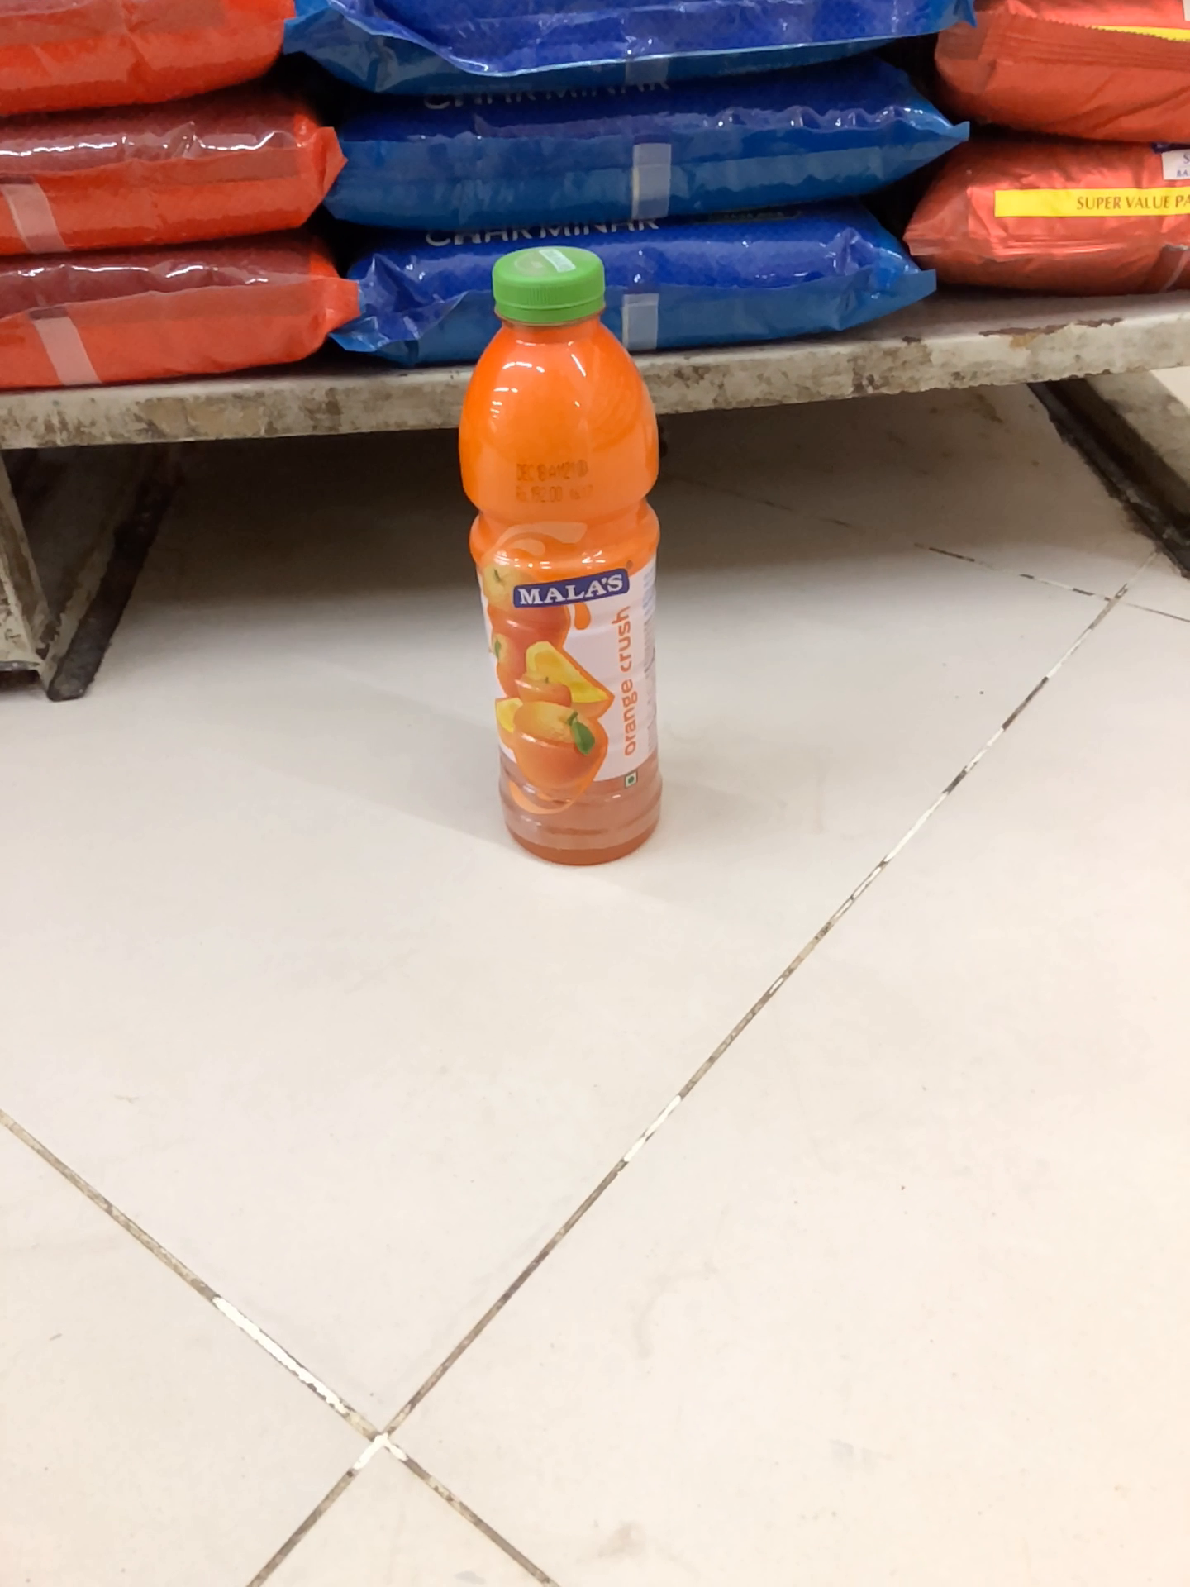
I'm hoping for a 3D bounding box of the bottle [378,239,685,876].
[{"bbox_3d":[-0.014,-0.087,0.535,0.090,0.238,0.091,-3,39,2],"label":"bottle"}]
